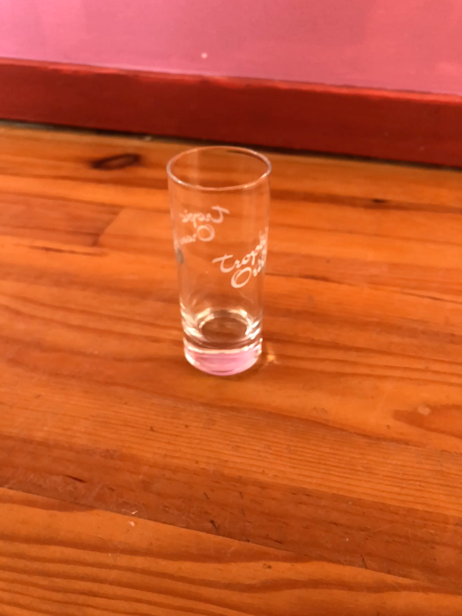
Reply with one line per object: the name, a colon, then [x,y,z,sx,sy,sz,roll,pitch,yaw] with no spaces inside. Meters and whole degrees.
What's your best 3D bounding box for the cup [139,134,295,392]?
cup: [-0.005,-0.024,0.293,0.056,0.124,0.056,0,38,0]
